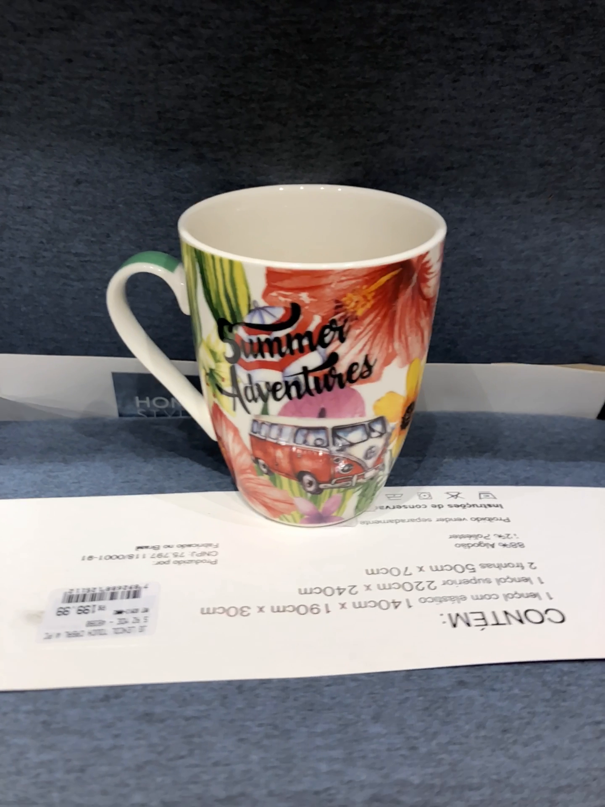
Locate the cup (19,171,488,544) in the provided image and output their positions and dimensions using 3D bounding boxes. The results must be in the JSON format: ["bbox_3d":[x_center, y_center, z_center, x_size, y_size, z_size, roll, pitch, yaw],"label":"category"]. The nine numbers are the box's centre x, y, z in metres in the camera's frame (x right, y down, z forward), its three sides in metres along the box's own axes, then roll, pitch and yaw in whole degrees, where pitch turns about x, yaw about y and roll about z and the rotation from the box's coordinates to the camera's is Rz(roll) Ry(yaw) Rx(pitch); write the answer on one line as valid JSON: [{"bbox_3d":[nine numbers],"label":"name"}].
[{"bbox_3d":[-0.013,-0.020,0.220,0.110,0.090,0.090,1,28,-2],"label":"cup"}]
